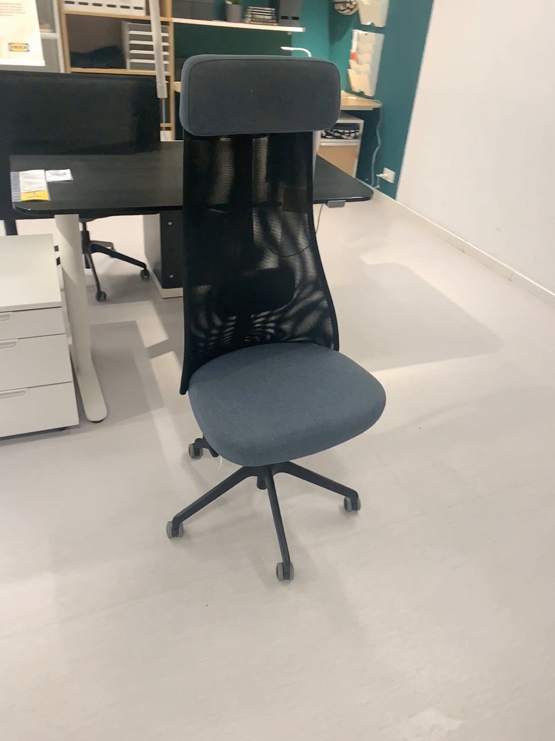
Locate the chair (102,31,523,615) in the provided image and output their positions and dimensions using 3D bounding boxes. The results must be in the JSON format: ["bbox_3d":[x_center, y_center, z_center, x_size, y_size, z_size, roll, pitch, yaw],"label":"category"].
[{"bbox_3d":[-0.029,-0.135,1.578,0.641,1.304,0.733,-11,36,-25],"label":"chair"}]
